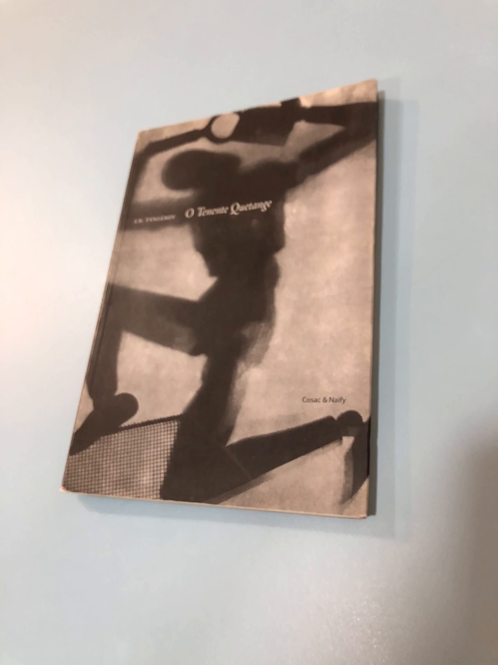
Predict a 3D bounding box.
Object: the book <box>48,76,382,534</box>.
[{"bbox_3d":[-0.011,-0.020,0.255,0.134,0.016,0.197,-2,69,23],"label":"book"}]
